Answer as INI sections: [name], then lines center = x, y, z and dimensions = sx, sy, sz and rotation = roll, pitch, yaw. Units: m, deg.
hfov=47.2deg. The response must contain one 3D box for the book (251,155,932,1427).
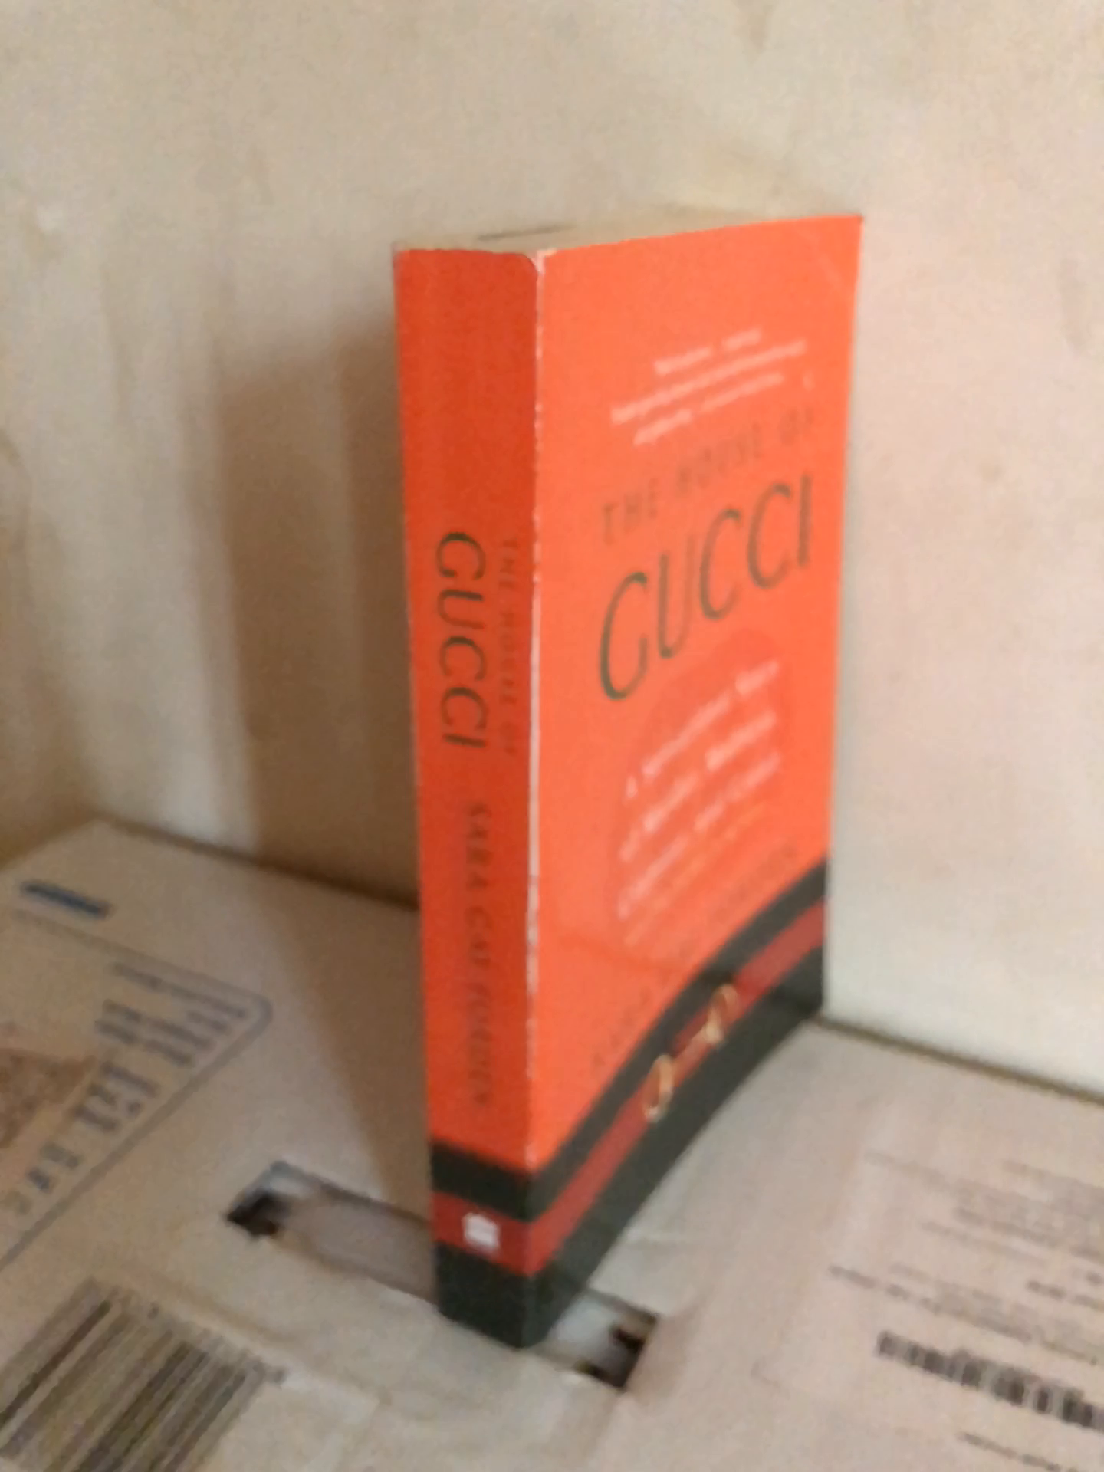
[book]
center = 0.025, -0.003, 0.290
dimensions = 0.040, 0.229, 0.191
rotation = 15, 31, 28
